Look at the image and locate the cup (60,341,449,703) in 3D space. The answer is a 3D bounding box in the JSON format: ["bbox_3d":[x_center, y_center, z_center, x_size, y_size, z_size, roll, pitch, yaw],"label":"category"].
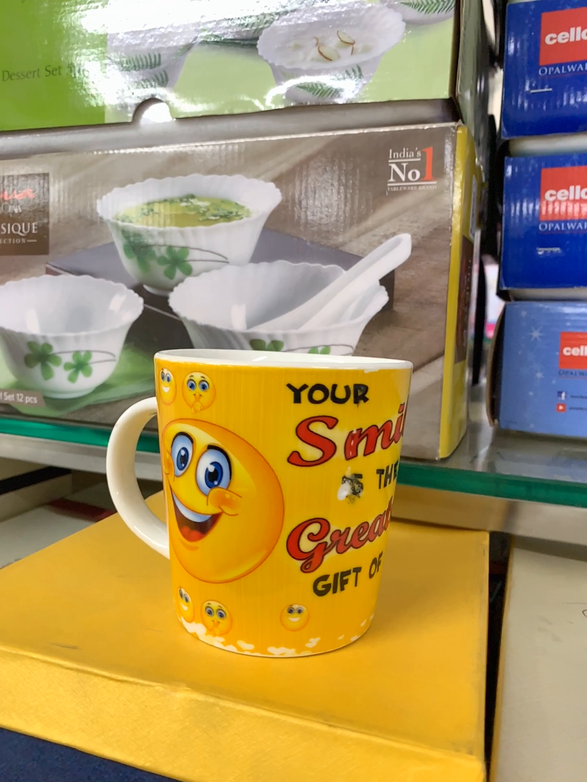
[{"bbox_3d":[-0.017,0.031,0.223,0.120,0.090,0.070,7,8,33],"label":"cup"}]
